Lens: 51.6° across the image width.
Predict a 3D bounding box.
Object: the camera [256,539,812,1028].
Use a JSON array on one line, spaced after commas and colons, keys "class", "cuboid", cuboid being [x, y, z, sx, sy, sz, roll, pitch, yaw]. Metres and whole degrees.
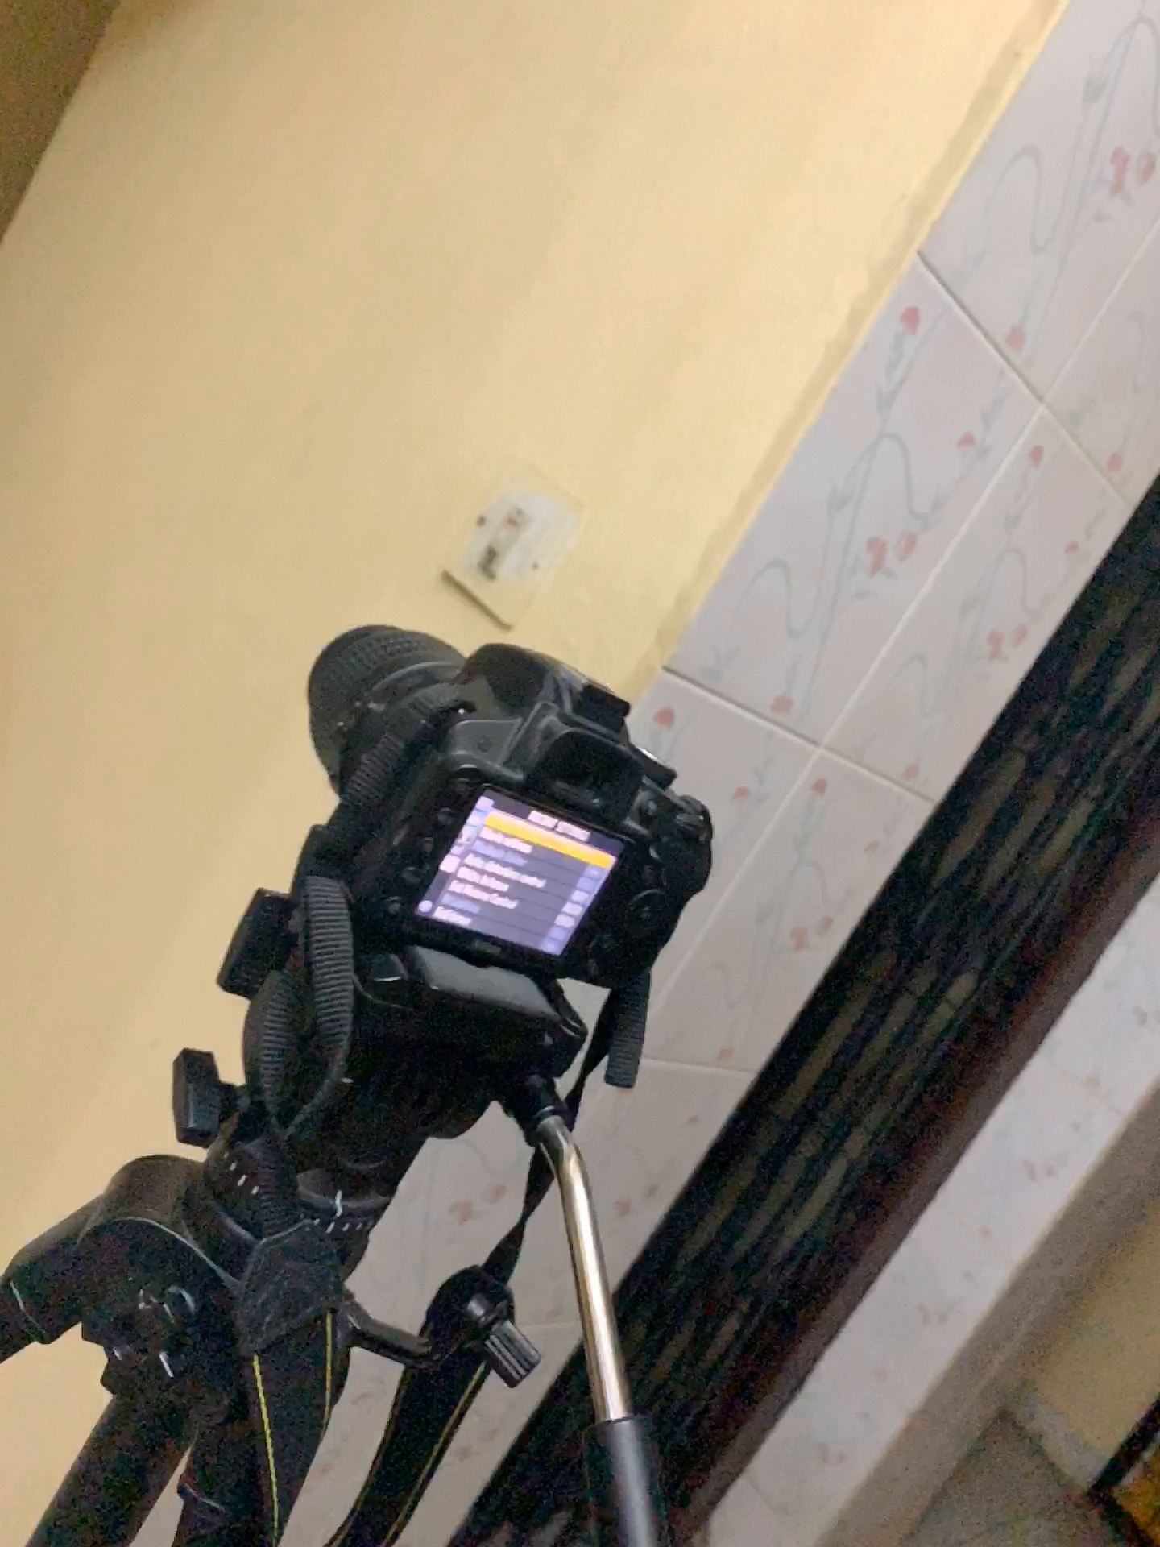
[{"class": "camera", "cuboid": [-0.021, 0.002, 0.431, 0.134, 0.090, 0.130, 24, 12, -36]}]
